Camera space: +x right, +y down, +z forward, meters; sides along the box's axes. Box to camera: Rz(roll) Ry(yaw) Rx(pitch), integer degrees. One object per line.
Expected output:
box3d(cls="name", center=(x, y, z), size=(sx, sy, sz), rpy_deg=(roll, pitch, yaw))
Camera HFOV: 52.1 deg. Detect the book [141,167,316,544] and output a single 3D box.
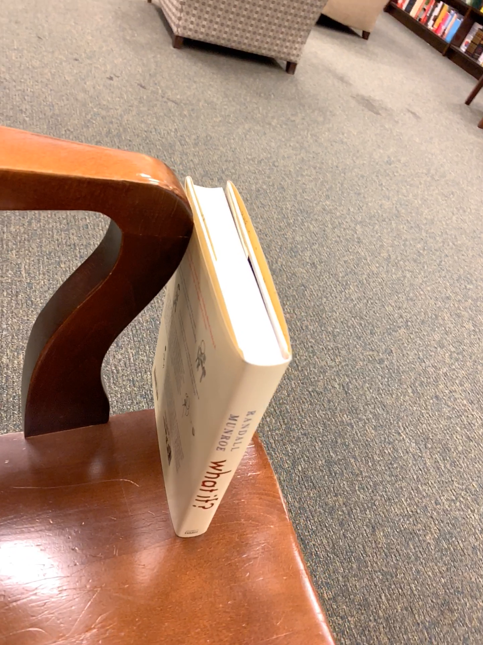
box3d(cls="book", center=(-0.034, 0.034, 0.399), size=(0.050, 0.239, 0.188), rpy_deg=(0, 47, -20))
